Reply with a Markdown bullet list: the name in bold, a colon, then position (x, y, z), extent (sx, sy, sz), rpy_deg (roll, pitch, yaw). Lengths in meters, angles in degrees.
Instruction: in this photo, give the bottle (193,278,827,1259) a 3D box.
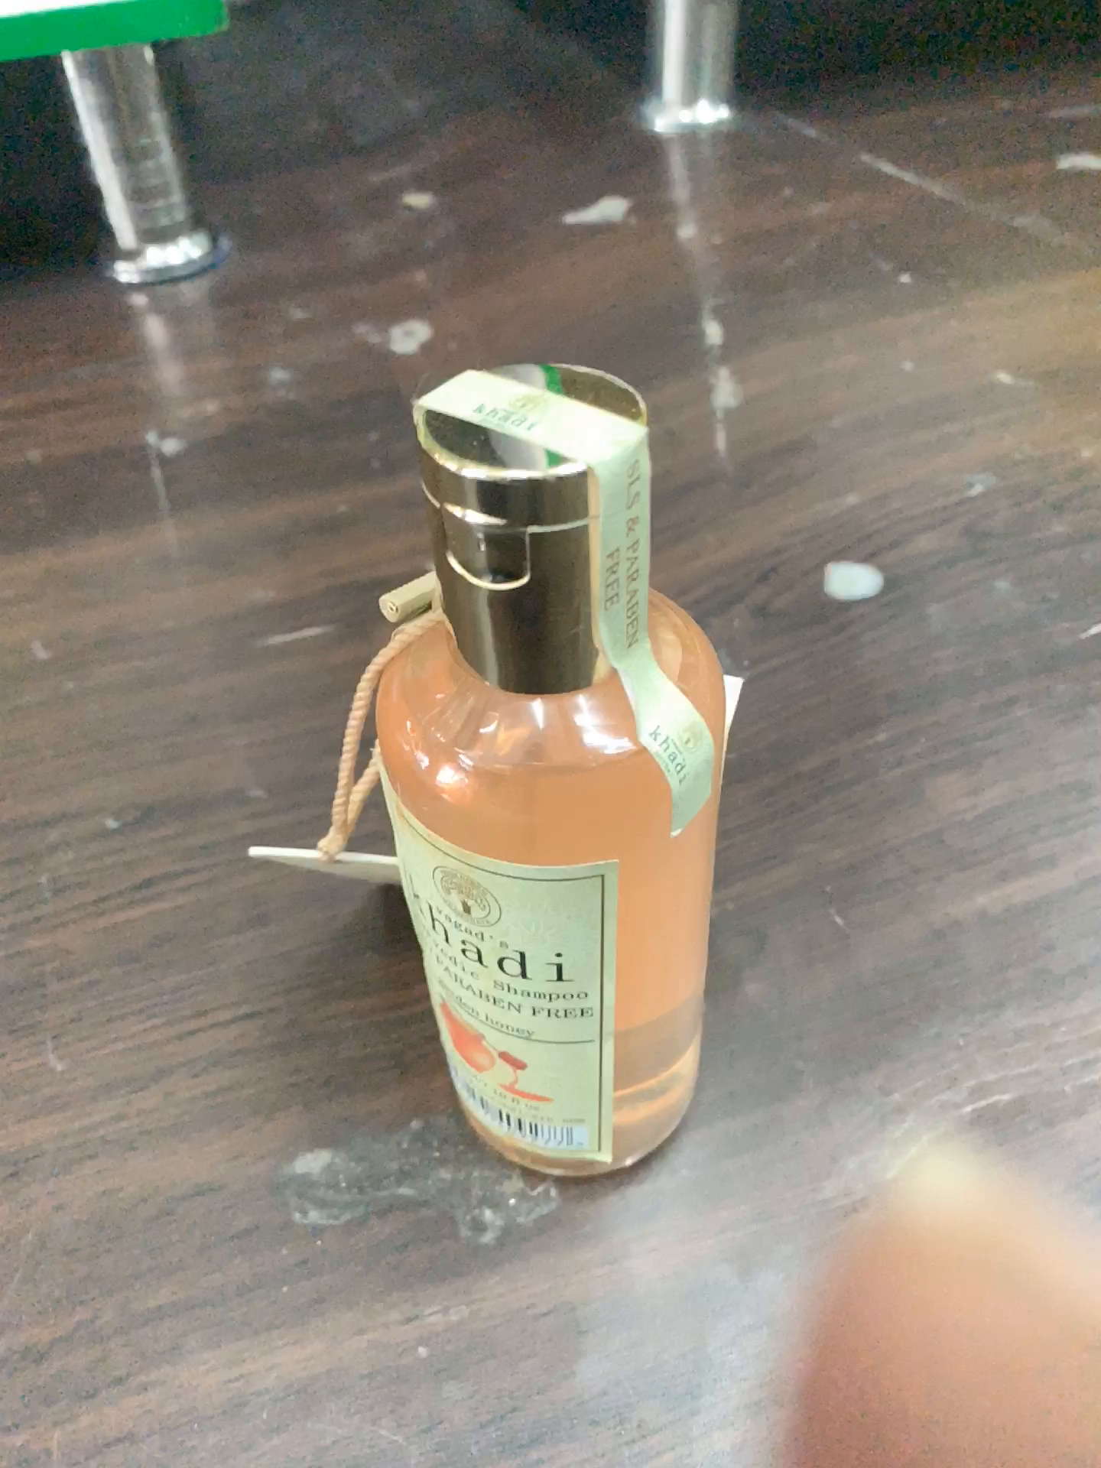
- **bottle**: position (0.000, 0.017, 0.180), extent (0.050, 0.149, 0.050), rpy_deg (-2, 45, 2)
